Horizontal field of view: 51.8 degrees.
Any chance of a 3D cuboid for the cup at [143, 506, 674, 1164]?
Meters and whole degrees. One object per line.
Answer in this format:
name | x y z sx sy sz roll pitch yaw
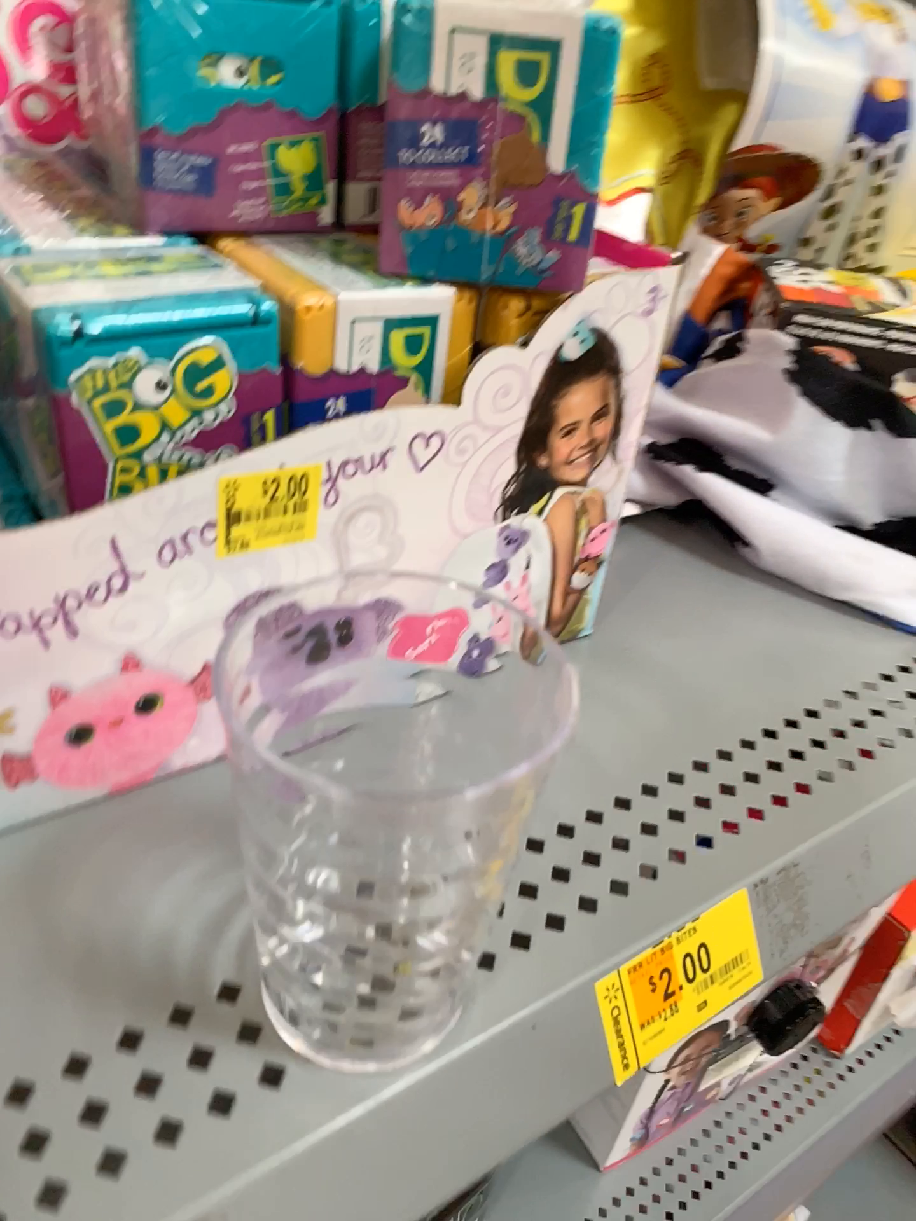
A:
cup | -0.017 0.046 0.215 0.079 0.107 0.070 -17 42 -32
